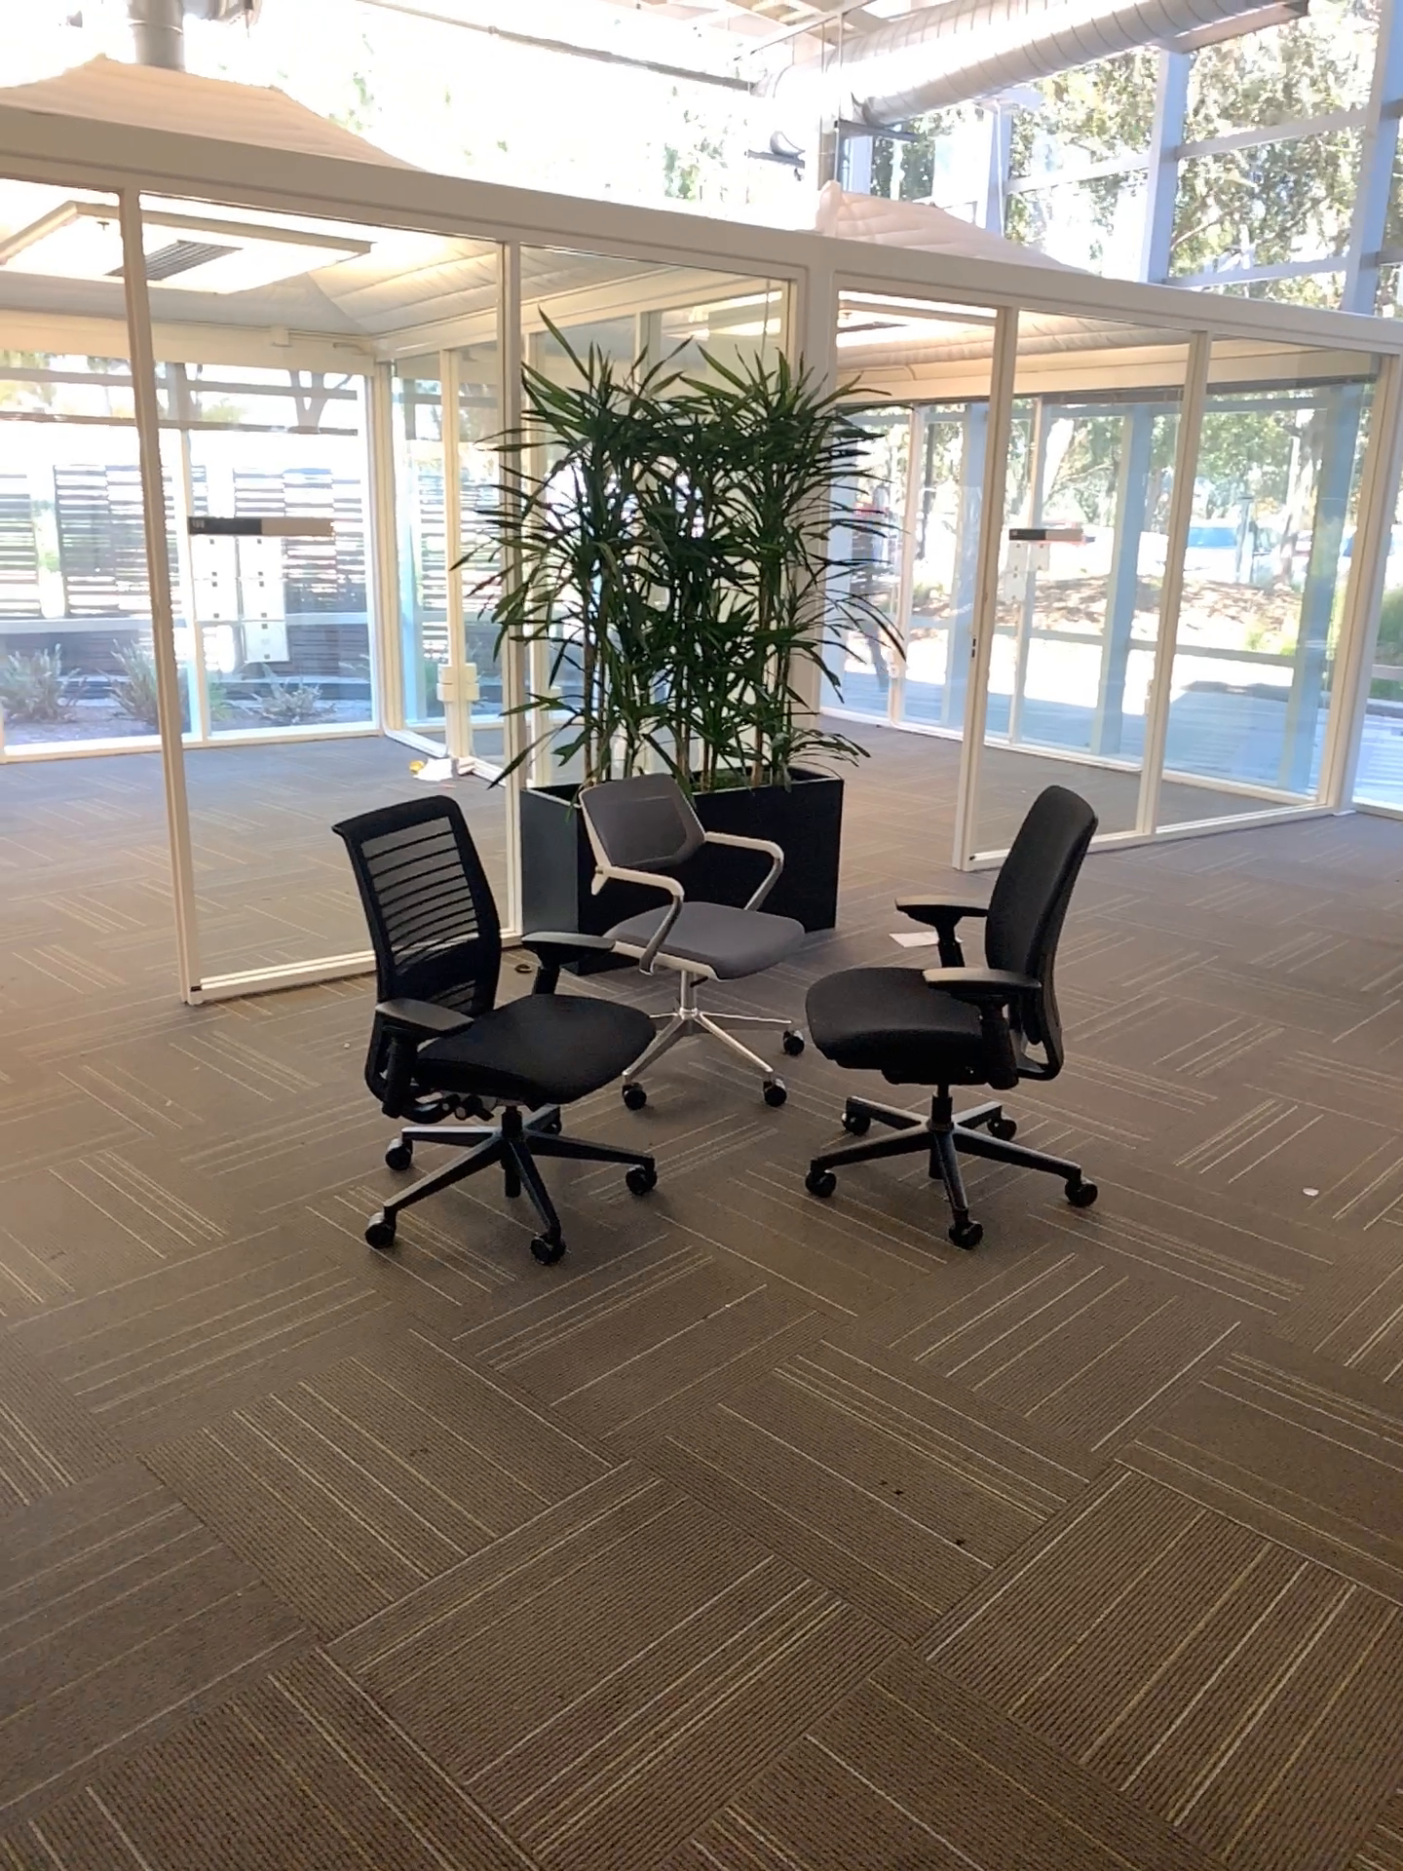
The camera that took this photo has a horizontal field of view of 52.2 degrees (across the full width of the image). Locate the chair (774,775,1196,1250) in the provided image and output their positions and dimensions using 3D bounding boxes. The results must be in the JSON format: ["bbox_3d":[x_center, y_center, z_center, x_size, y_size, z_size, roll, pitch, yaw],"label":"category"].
[{"bbox_3d":[0.602,0.140,3.429,0.760,0.886,0.854,1,16,-2],"label":"chair"}]

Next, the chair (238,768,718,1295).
[{"bbox_3d":[-0.470,0.150,3.283,0.721,0.886,0.812,9,18,24],"label":"chair"}]

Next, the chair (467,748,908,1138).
[{"bbox_3d":[-0.040,-0.044,4.137,0.922,0.797,0.841,13,20,35],"label":"chair"}]
